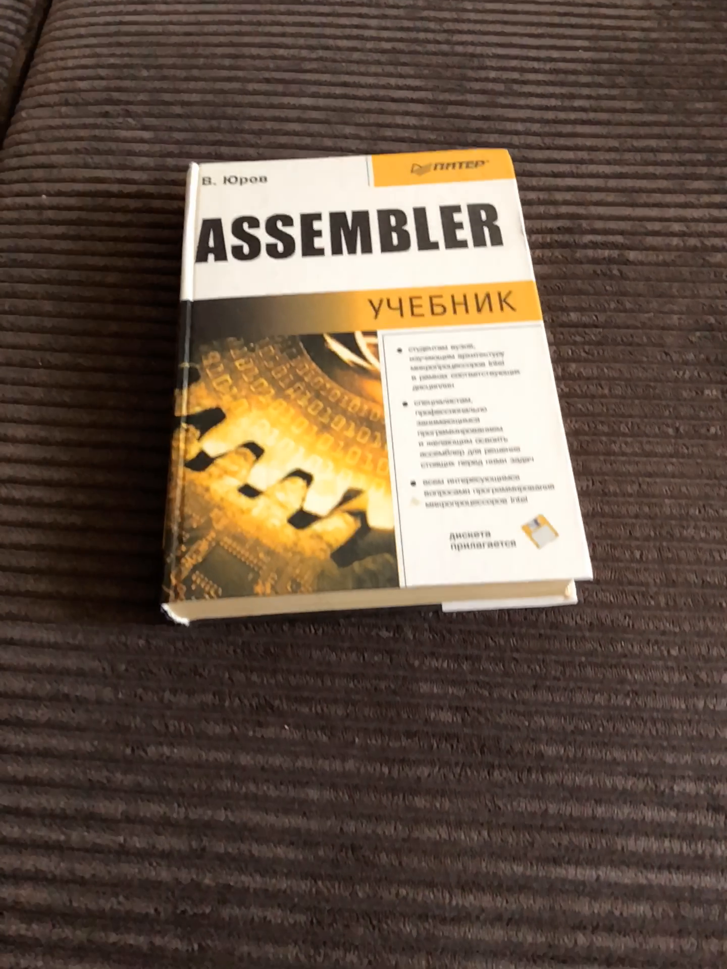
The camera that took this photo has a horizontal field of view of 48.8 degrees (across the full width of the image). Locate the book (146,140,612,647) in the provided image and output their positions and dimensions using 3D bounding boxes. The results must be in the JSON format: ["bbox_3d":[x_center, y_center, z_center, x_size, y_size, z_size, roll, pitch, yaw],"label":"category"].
[{"bbox_3d":[-0.002,-0.053,0.373,0.170,0.058,0.237,-3,62,-3],"label":"book"}]
